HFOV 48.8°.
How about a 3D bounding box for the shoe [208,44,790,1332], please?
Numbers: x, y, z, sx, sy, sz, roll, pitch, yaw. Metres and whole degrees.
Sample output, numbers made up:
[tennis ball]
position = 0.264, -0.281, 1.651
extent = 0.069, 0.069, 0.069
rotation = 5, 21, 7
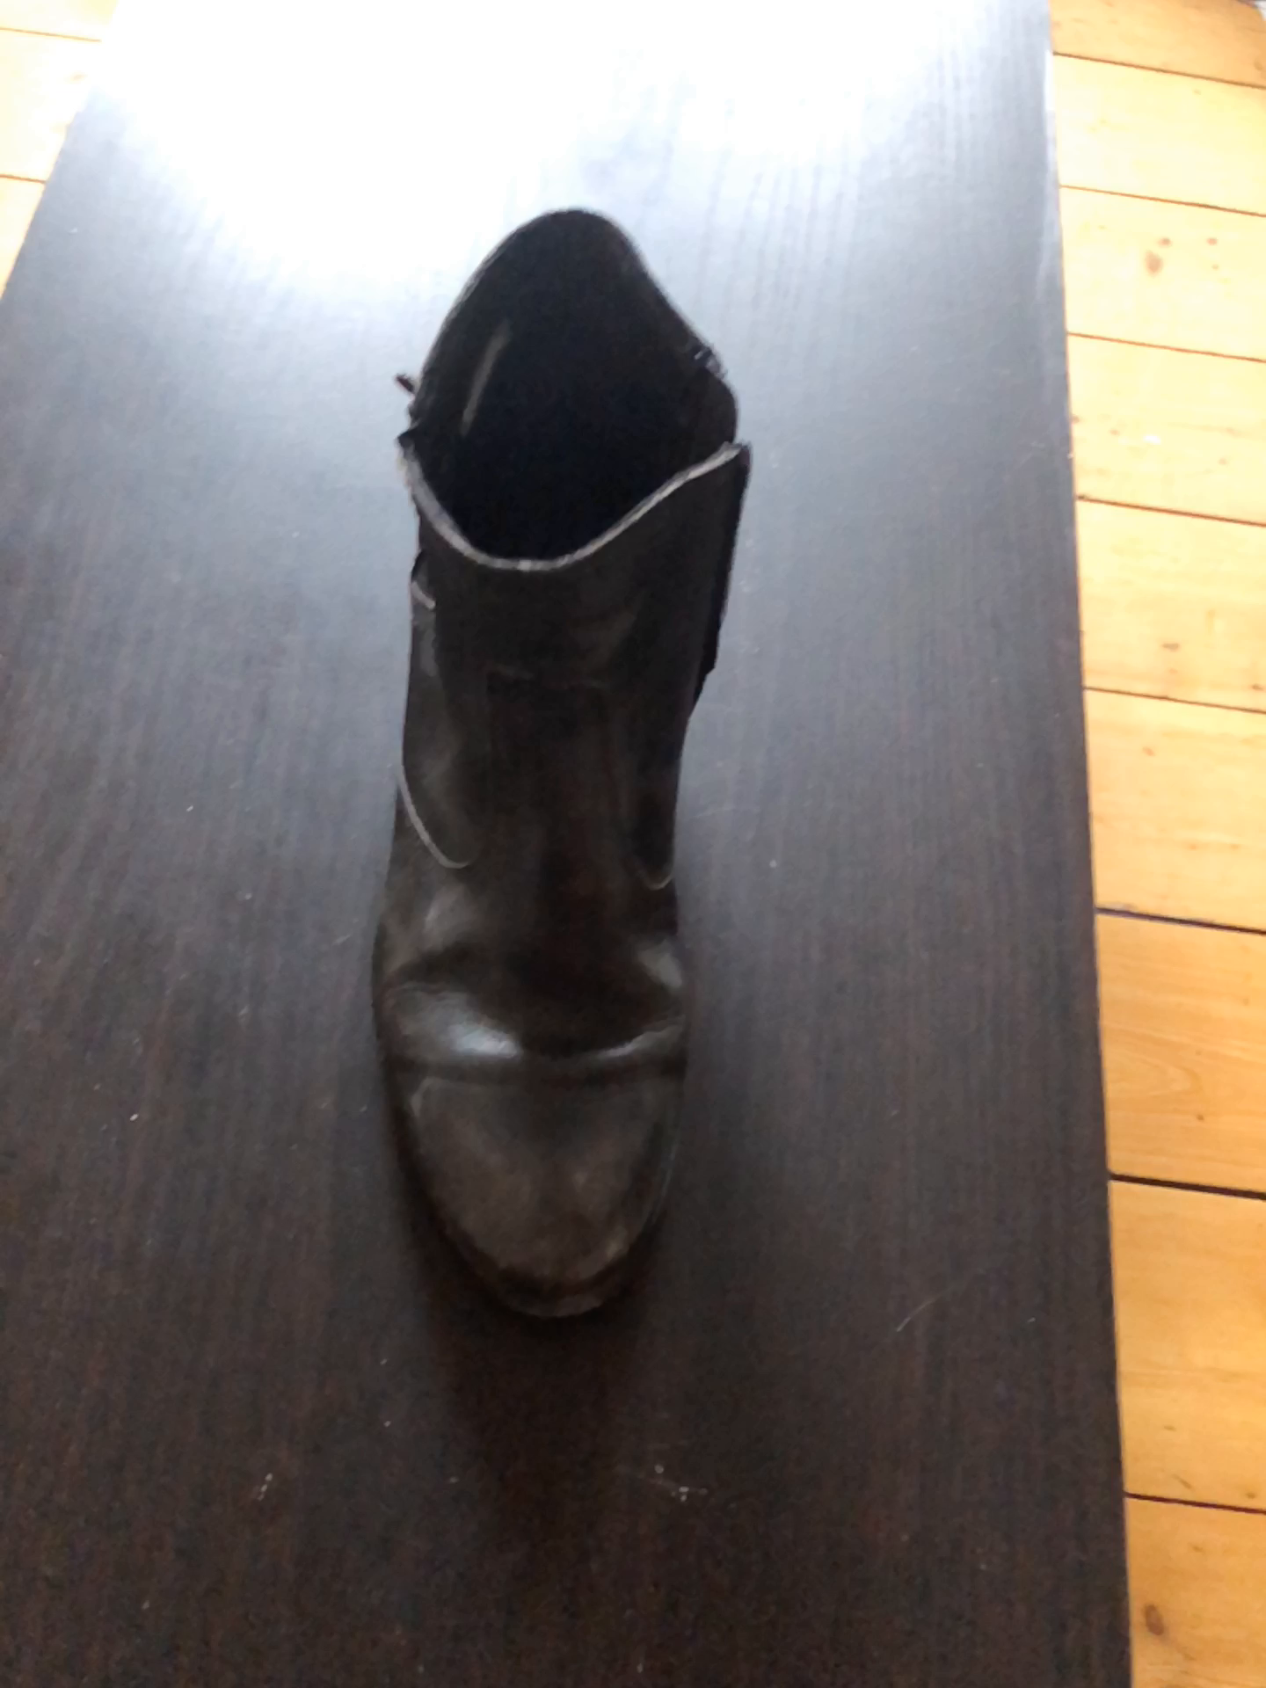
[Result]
[shoe]
position = -0.025, -0.030, 0.351
extent = 0.090, 0.169, 0.271
rotation = 2, 65, -3
